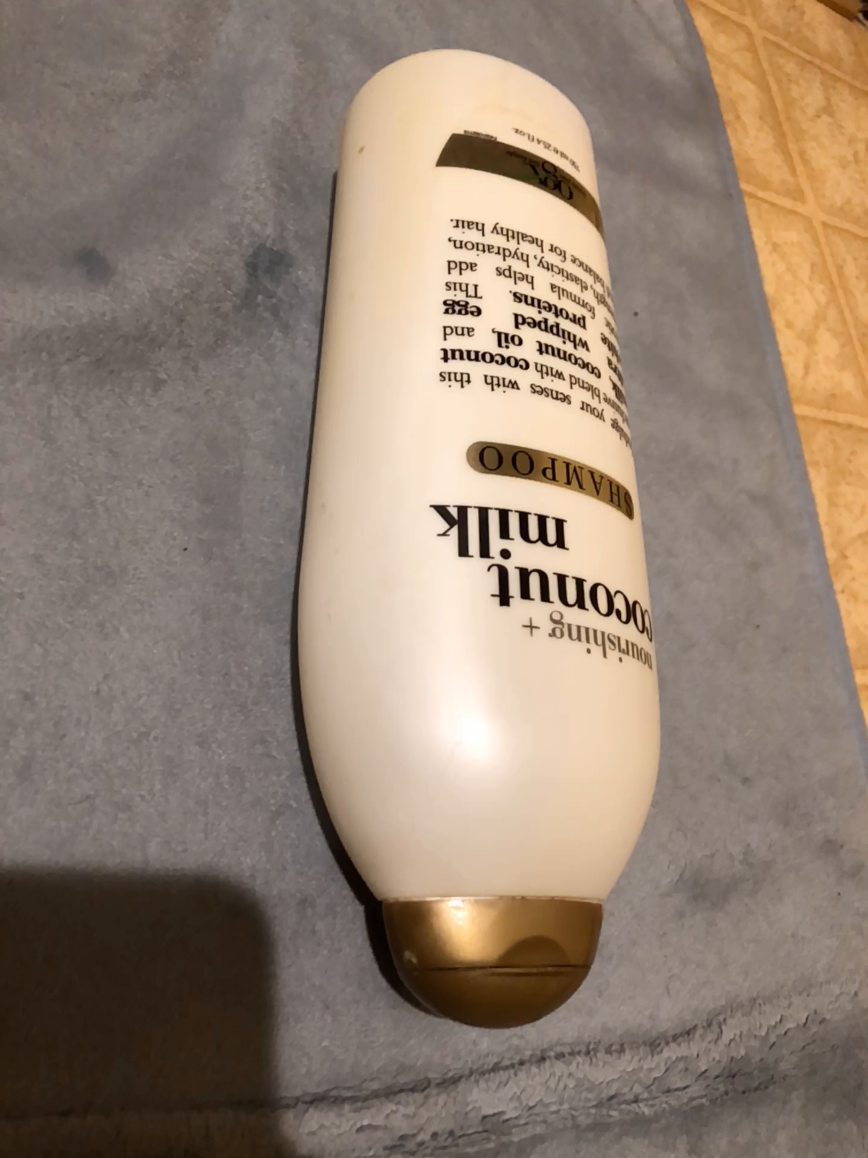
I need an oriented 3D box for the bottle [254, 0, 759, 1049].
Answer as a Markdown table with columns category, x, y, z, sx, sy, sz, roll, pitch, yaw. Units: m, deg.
| category | x | y | z | sx | sy | sz | roll | pitch | yaw |
| --- | --- | --- | --- | --- | --- | --- | --- | --- | --- |
| bottle | 0.013 | -0.022 | 0.212 | 0.080 | 0.040 | 0.220 | 13 | 64 | -29 |
